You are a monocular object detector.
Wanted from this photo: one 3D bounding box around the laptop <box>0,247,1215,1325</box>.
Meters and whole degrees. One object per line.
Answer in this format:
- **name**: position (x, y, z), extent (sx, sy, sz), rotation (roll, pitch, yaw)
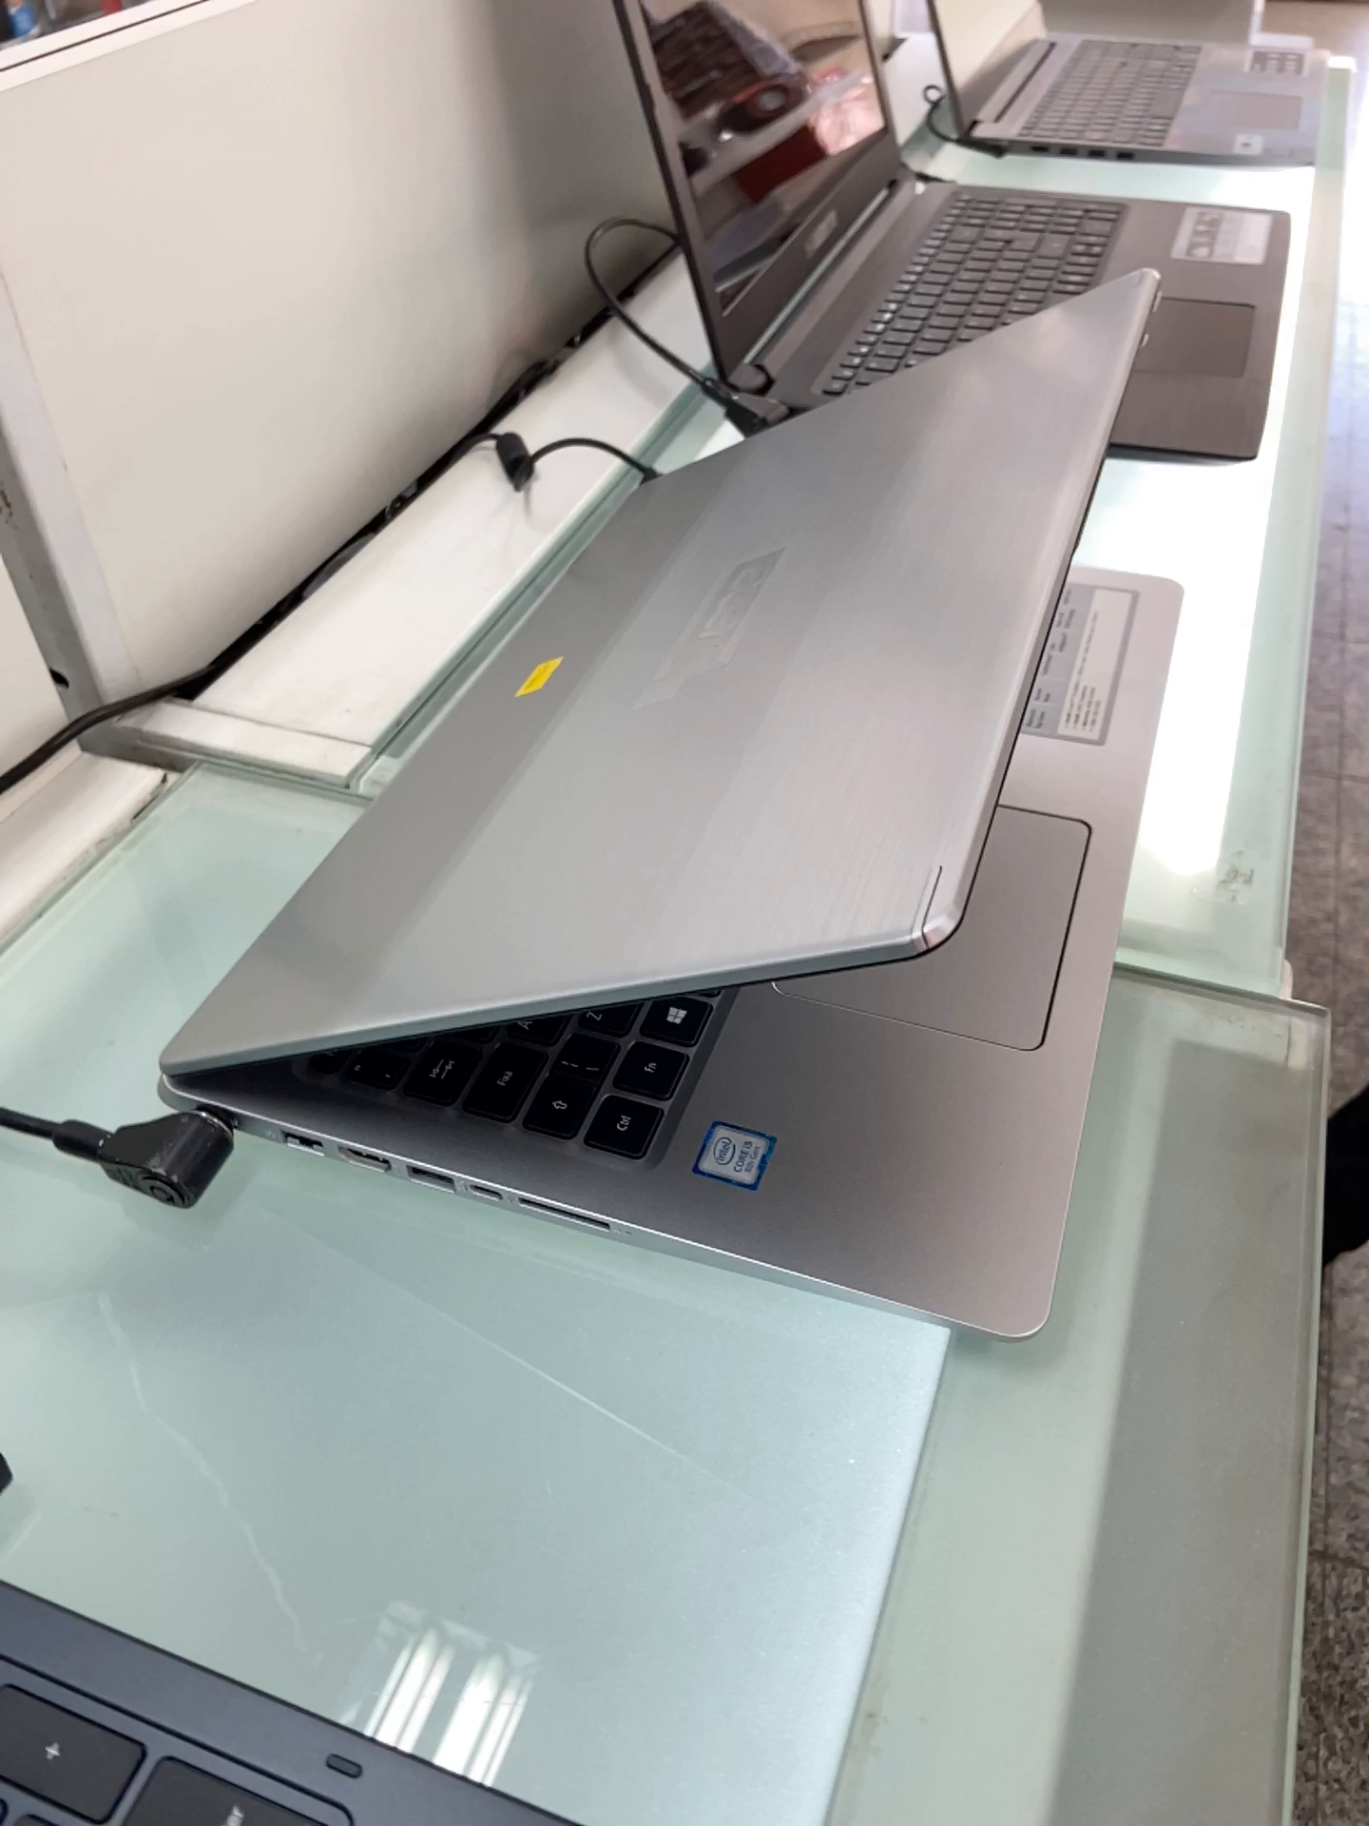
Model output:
- **laptop**: position (0.021, -0.088, 0.451), extent (0.245, 0.116, 0.366), rotation (11, 43, 15)
